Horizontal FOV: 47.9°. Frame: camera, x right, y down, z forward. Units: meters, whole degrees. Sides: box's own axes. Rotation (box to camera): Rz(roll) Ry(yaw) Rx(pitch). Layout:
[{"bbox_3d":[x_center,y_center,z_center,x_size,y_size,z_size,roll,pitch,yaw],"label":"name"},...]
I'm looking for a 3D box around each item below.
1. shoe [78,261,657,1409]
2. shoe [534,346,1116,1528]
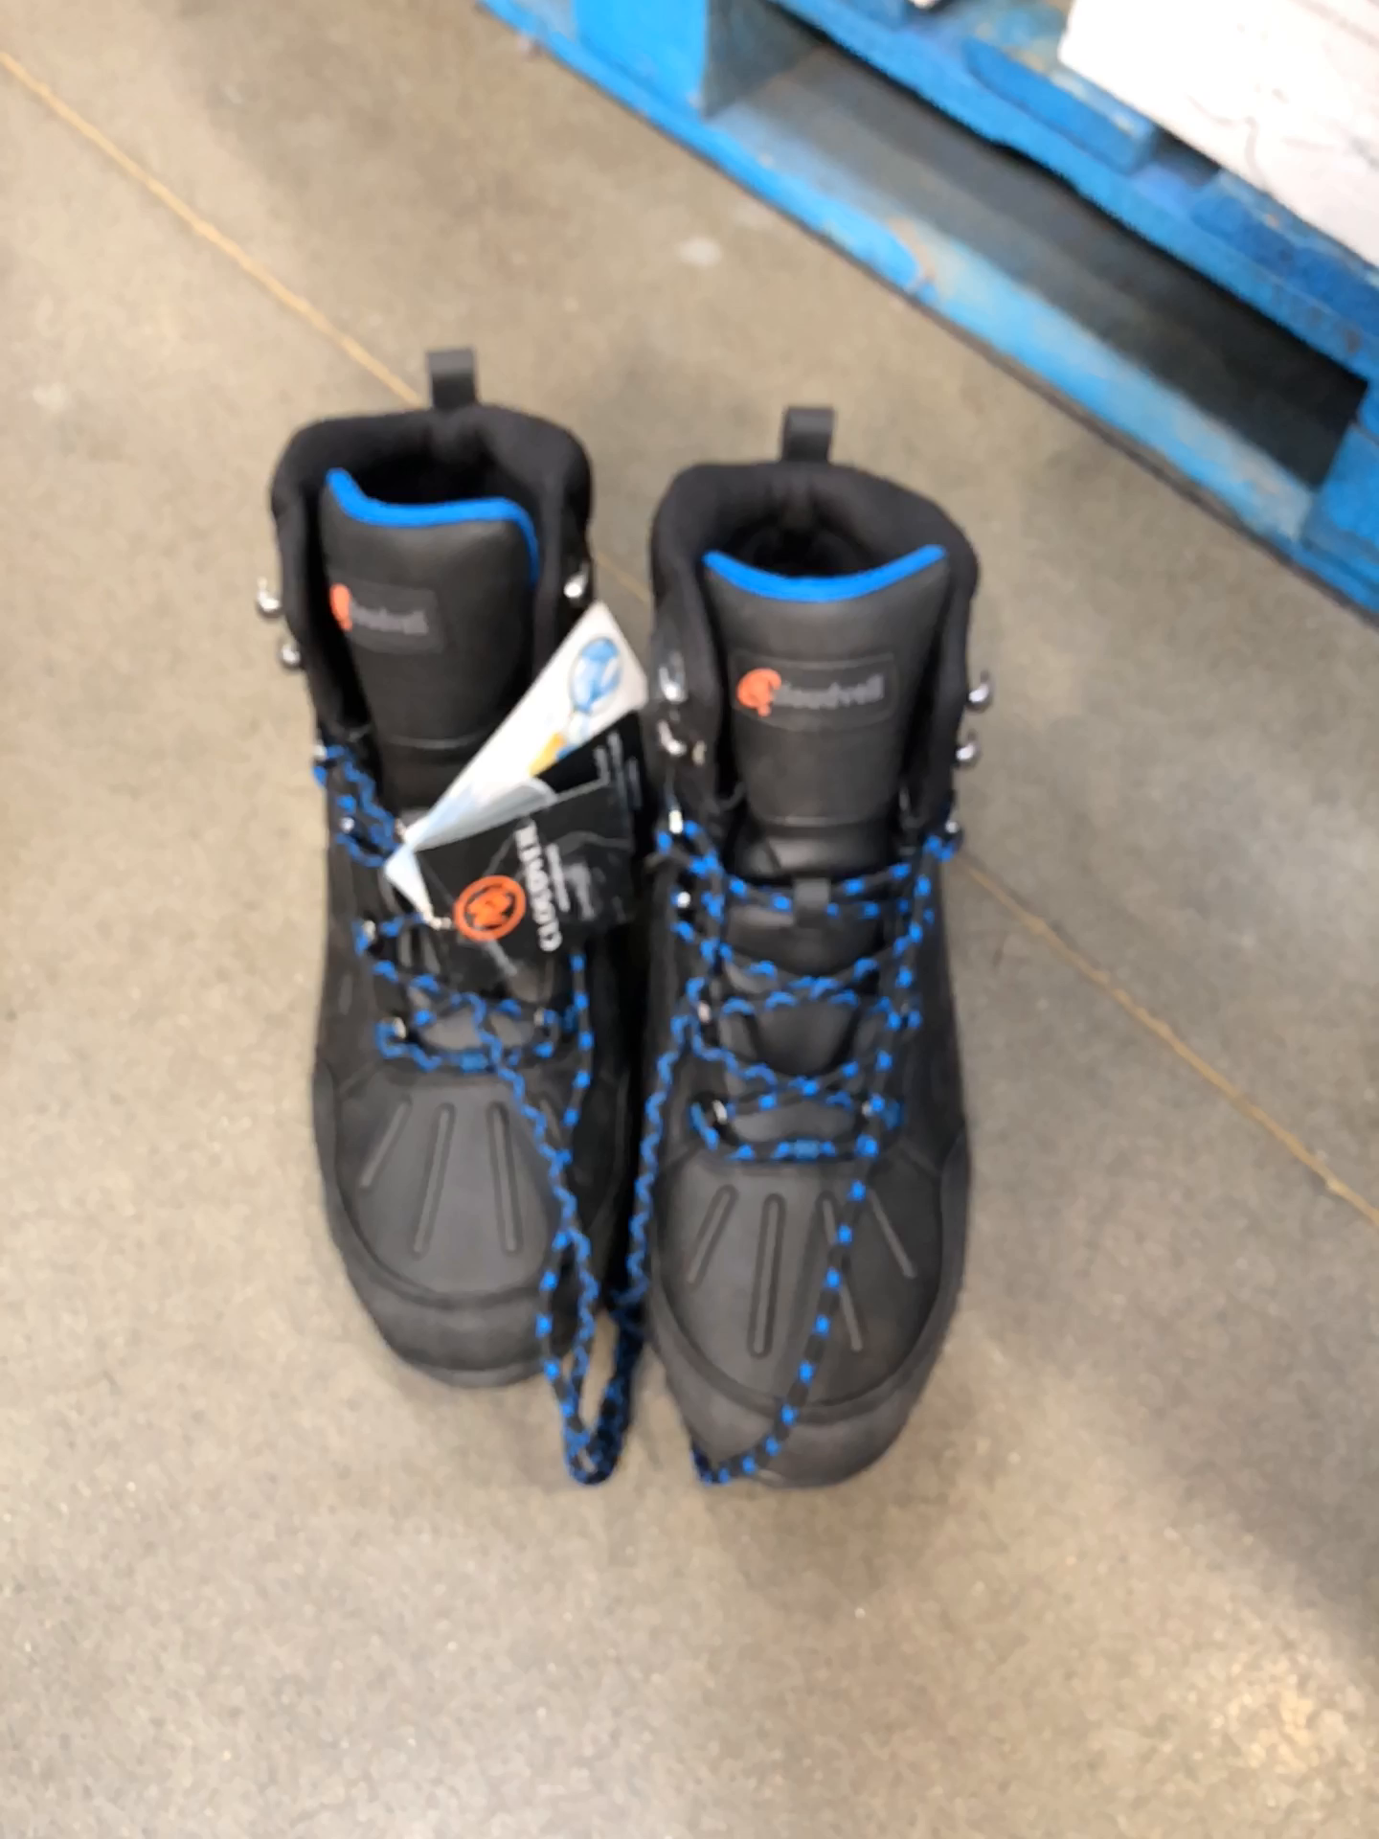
[{"bbox_3d":[-0.079,-0.017,0.500,0.120,0.210,0.300,-3,64,0],"label":"shoe"},{"bbox_3d":[0.038,0.015,0.481,0.120,0.210,0.300,3,64,2],"label":"shoe"}]
